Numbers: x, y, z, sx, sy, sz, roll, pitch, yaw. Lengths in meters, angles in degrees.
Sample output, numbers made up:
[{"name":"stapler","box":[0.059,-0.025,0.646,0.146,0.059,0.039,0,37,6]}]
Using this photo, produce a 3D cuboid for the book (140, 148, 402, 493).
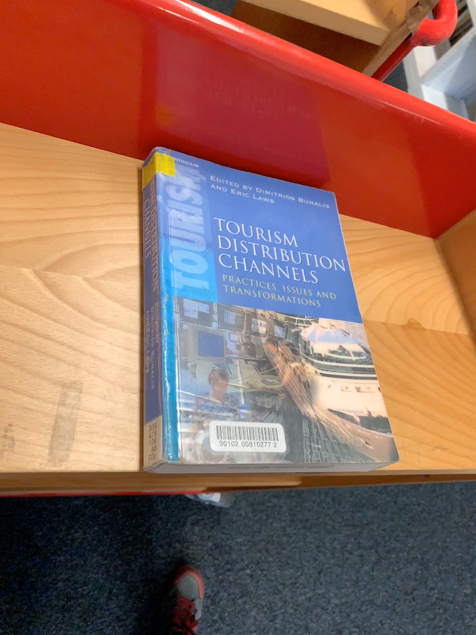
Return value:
[{"name":"book","box":[0.016,-0.002,0.354,0.168,0.031,0.239,9,59,-25]}]
